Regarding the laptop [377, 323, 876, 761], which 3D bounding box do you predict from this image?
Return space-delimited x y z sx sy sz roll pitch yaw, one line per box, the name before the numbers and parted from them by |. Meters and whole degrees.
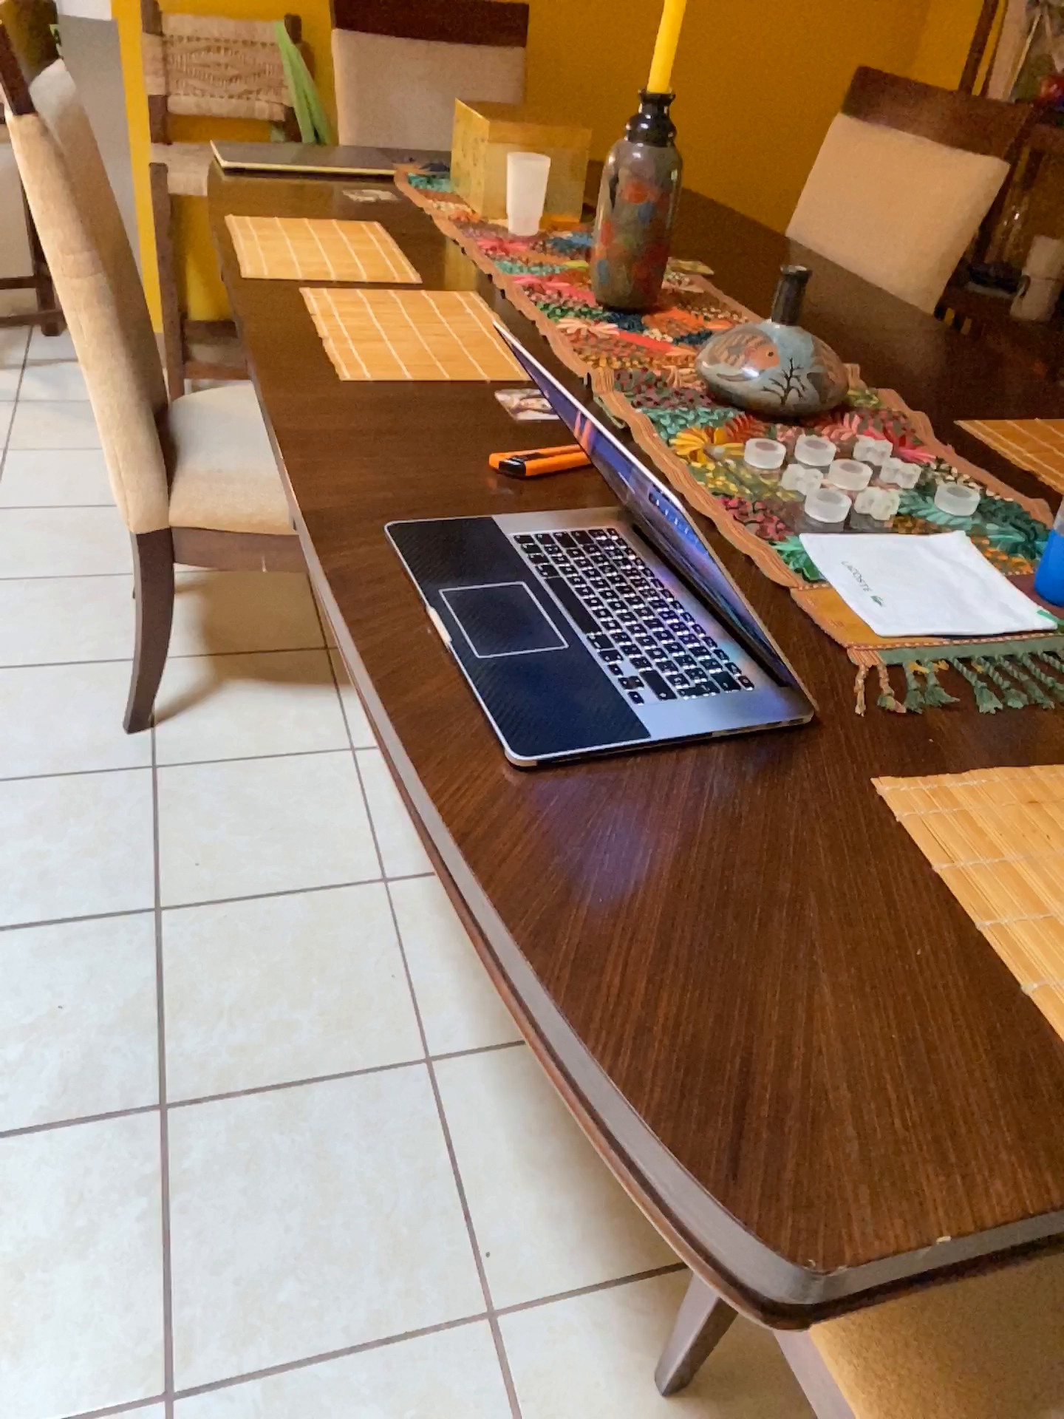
laptop | 0.041 -0.155 0.849 0.236 0.181 0.356 -7 38 -21
